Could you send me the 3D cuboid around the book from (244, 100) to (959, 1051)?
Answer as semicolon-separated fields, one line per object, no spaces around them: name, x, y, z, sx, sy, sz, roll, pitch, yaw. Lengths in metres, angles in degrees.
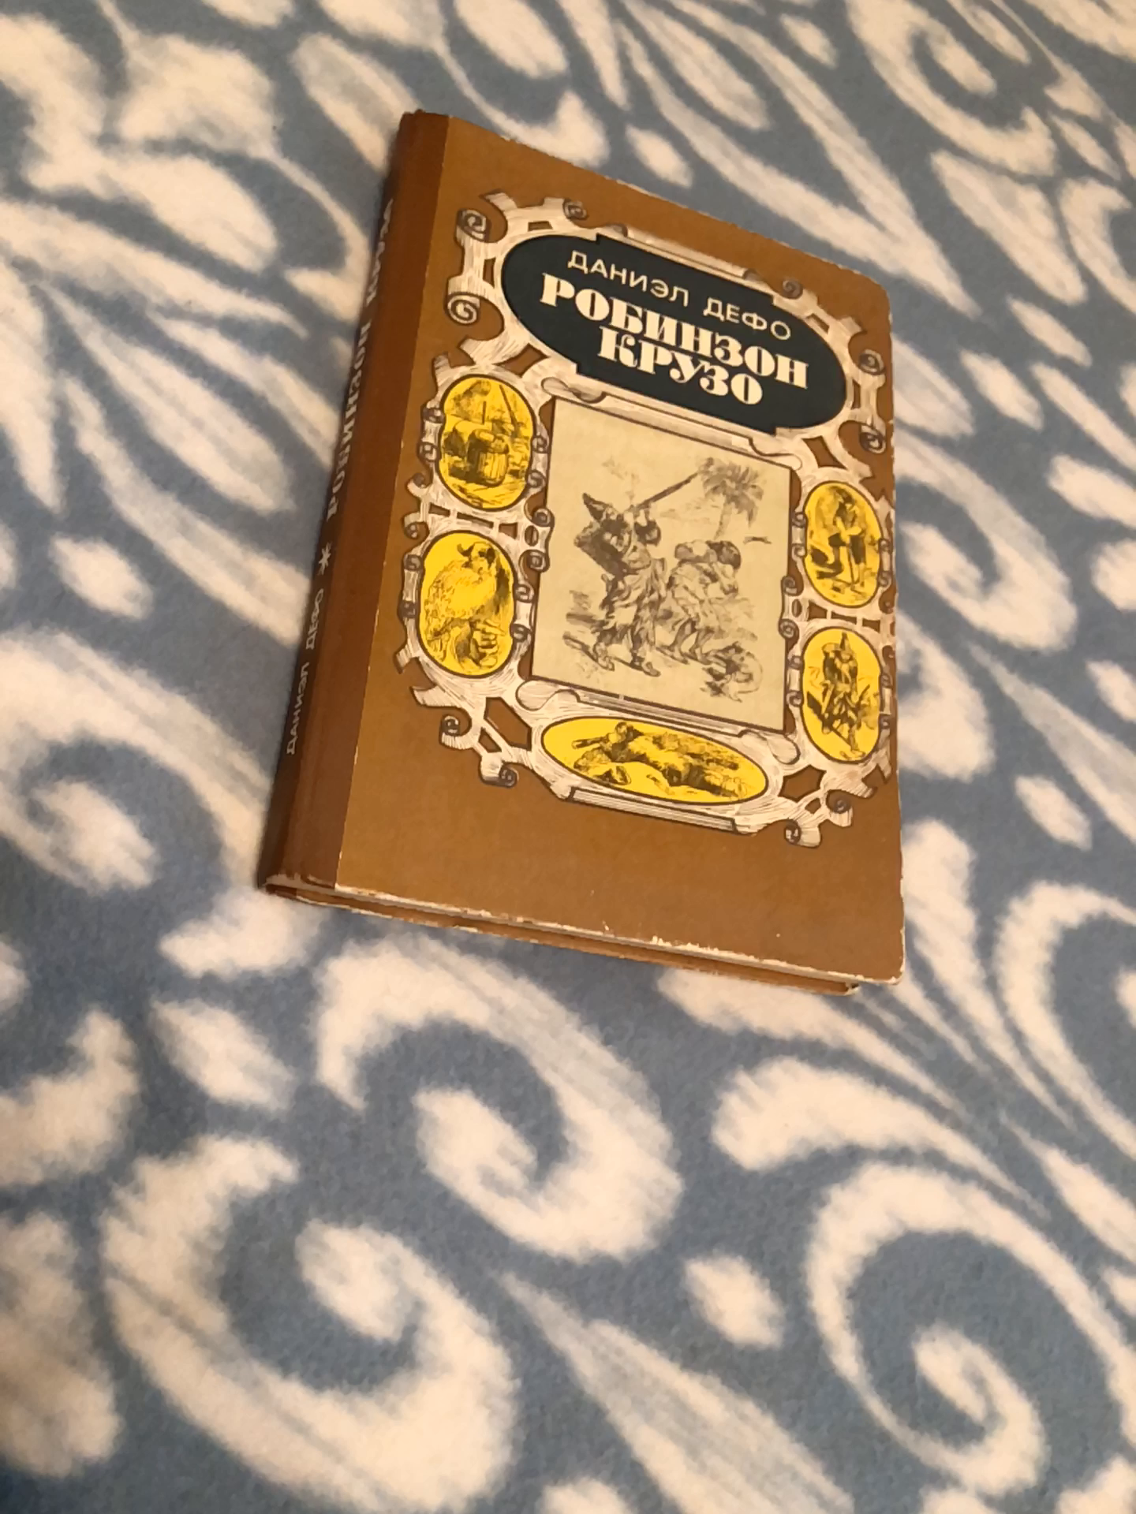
book;0.023;-0.054;0.352;0.179;0.024;0.242;12;67;-17
